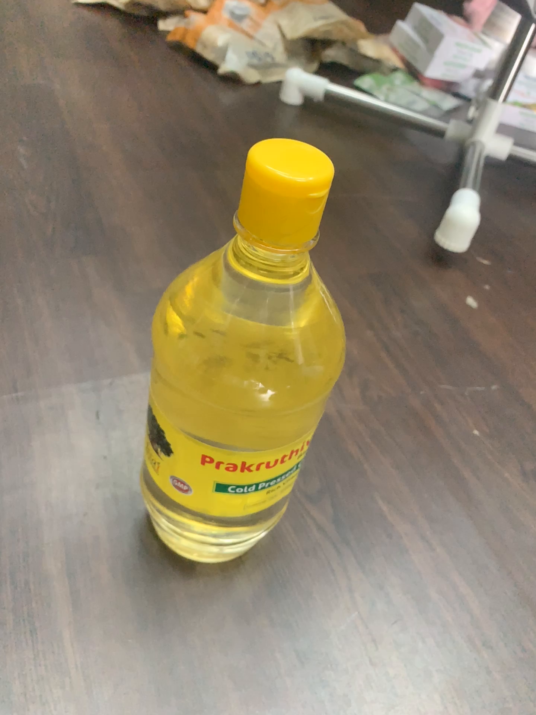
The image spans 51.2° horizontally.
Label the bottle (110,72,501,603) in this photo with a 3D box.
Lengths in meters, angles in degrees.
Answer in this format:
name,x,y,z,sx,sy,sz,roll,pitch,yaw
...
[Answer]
name,x,y,z,sx,sy,sz,roll,pitch,yaw
bottle,-0.005,0.004,0.250,0.090,0.209,0.090,8,44,-7
